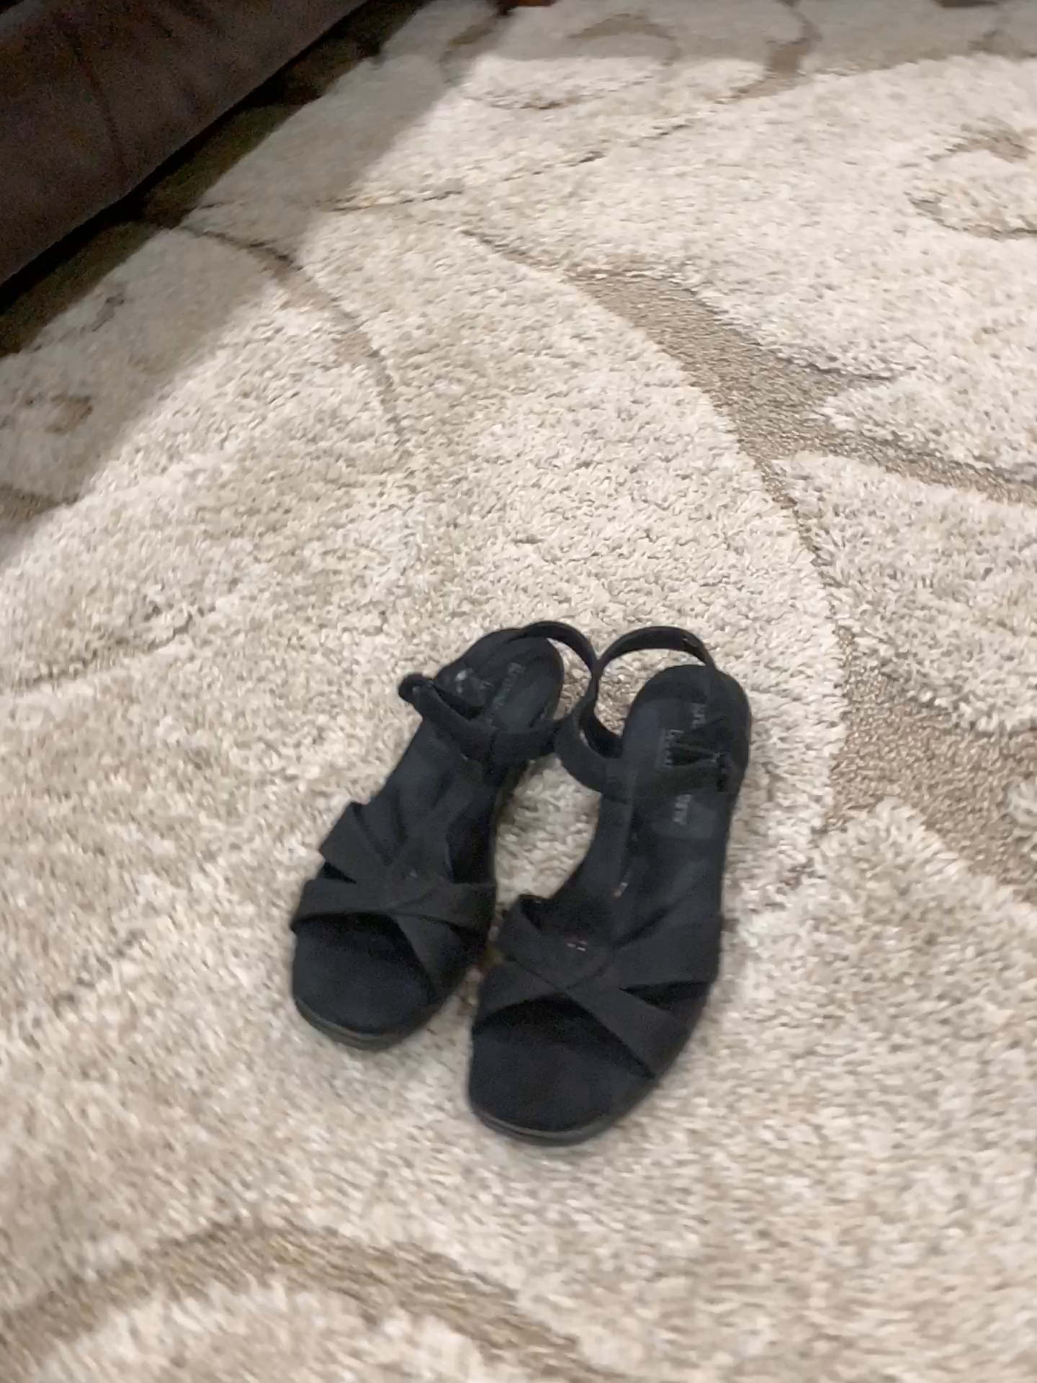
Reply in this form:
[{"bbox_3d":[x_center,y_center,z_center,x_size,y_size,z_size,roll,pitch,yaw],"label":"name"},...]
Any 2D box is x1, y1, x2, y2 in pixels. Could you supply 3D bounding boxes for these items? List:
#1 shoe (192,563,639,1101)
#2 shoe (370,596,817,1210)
[{"bbox_3d":[-0.033,0.050,0.498,0.100,0.059,0.243,14,53,22],"label":"shoe"},{"bbox_3d":[0.045,0.071,0.451,0.100,0.059,0.243,14,53,22],"label":"shoe"}]
